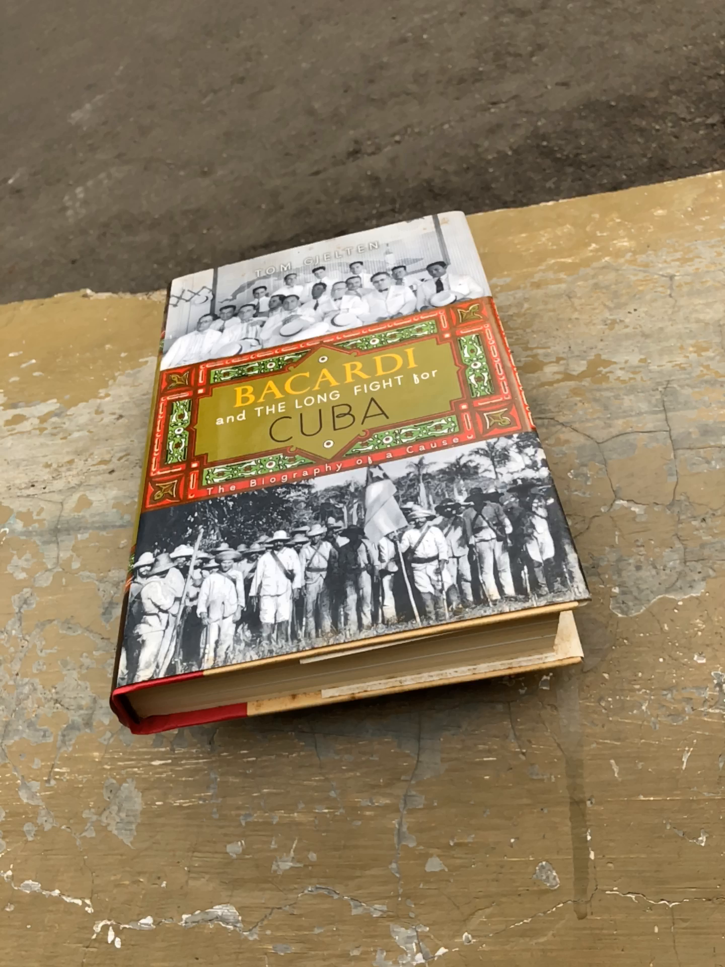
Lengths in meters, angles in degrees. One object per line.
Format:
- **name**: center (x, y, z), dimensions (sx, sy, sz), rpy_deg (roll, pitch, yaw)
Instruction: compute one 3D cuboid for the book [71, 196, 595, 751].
- **book**: center (-0.015, -0.024, 0.359), dimensions (0.170, 0.050, 0.251), rpy_deg (-11, 47, 6)
